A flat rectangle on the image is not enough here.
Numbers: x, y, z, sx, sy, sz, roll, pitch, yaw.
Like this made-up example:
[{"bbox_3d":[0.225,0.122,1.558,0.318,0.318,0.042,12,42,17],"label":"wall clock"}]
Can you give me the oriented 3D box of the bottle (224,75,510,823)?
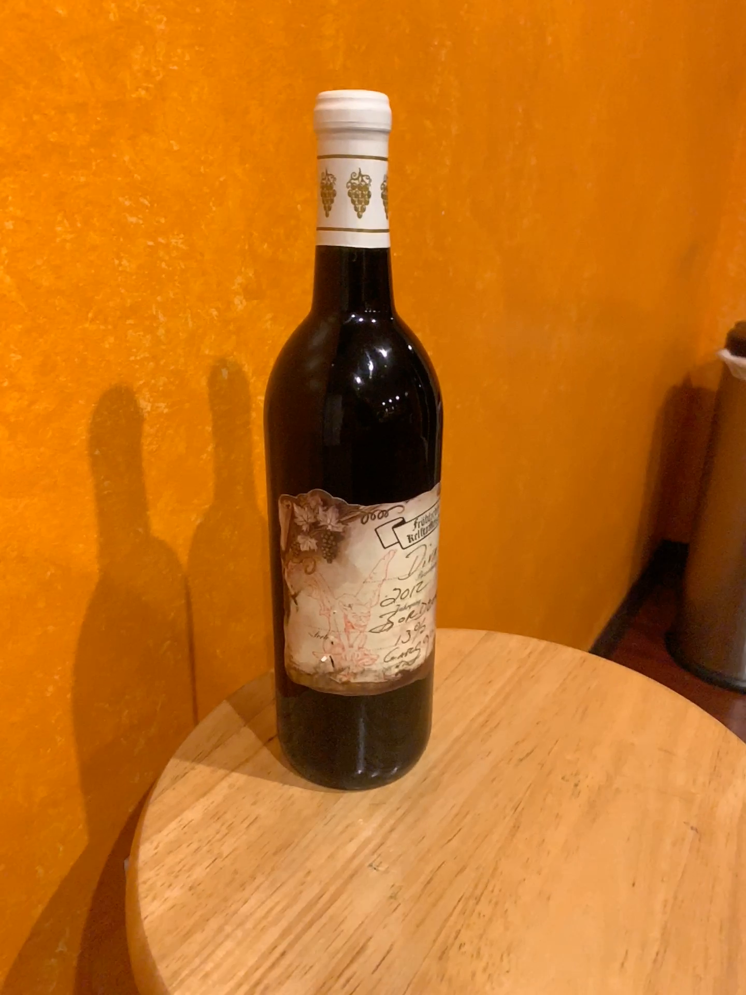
[{"bbox_3d":[-0.004,-0.012,0.332,0.070,0.289,0.080,16,26,31],"label":"bottle"}]
